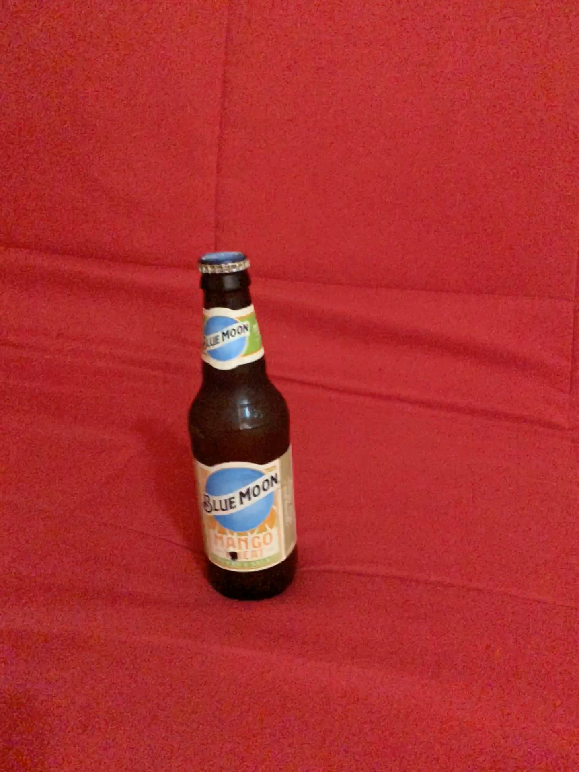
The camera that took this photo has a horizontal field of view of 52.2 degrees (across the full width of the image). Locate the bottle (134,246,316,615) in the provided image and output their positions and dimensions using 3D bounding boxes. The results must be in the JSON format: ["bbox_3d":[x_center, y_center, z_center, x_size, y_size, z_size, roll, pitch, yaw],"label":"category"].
[{"bbox_3d":[-0.029,0.031,0.362,0.070,0.216,0.069,-3,26,2],"label":"bottle"}]
